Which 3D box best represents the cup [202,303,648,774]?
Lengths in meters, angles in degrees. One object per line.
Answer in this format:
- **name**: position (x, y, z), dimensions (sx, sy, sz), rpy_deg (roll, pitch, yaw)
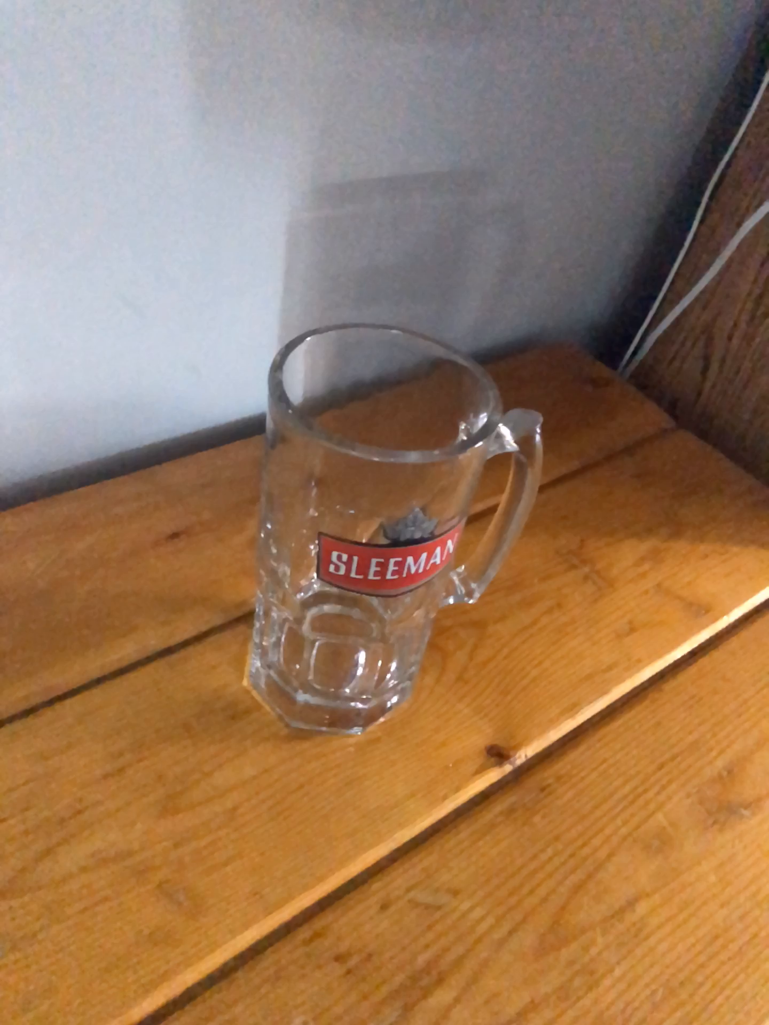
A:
- **cup**: position (0.000, 0.016, 0.437), dimensions (0.160, 0.209, 0.110), rpy_deg (-7, 47, -21)
